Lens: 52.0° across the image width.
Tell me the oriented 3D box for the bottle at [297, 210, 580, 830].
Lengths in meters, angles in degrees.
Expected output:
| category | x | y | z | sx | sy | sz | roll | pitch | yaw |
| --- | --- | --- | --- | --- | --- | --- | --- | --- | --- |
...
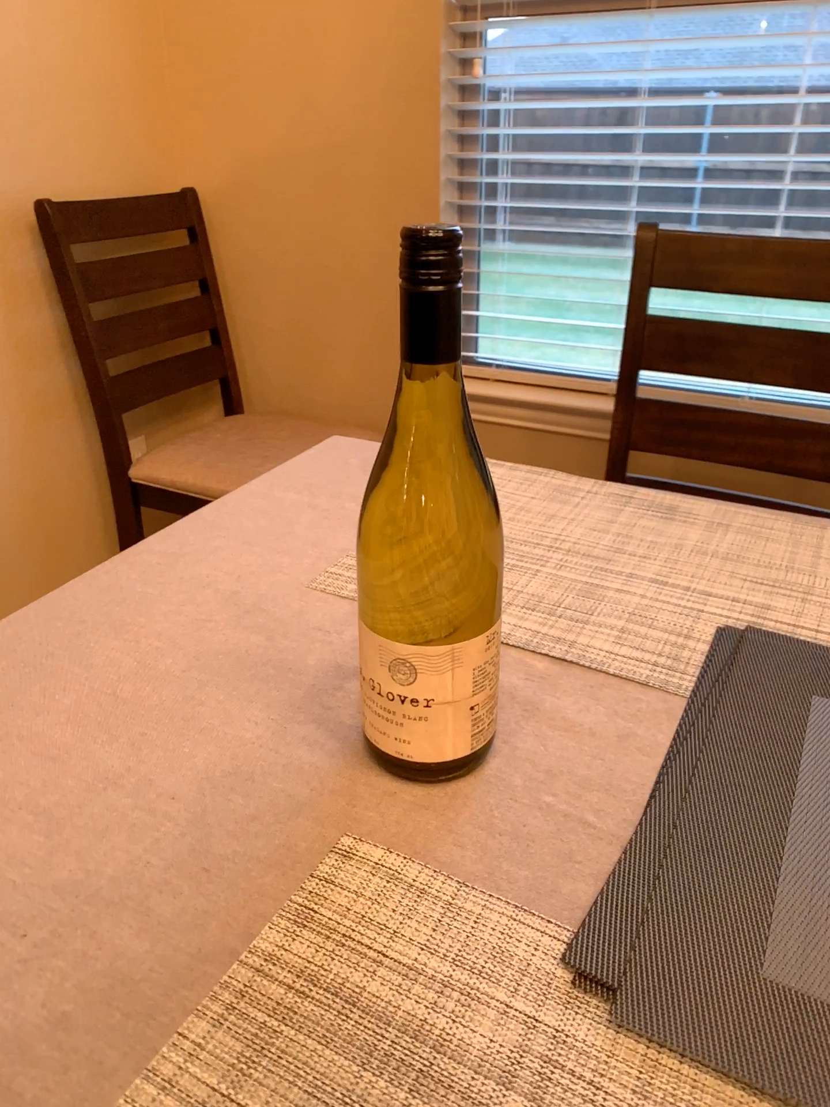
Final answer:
| category | x | y | z | sx | sy | sz | roll | pitch | yaw |
| --- | --- | --- | --- | --- | --- | --- | --- | --- | --- |
| bottle | 0.011 | -0.014 | 0.447 | 0.090 | 0.298 | 0.090 | 0 | 27 | 0 |
